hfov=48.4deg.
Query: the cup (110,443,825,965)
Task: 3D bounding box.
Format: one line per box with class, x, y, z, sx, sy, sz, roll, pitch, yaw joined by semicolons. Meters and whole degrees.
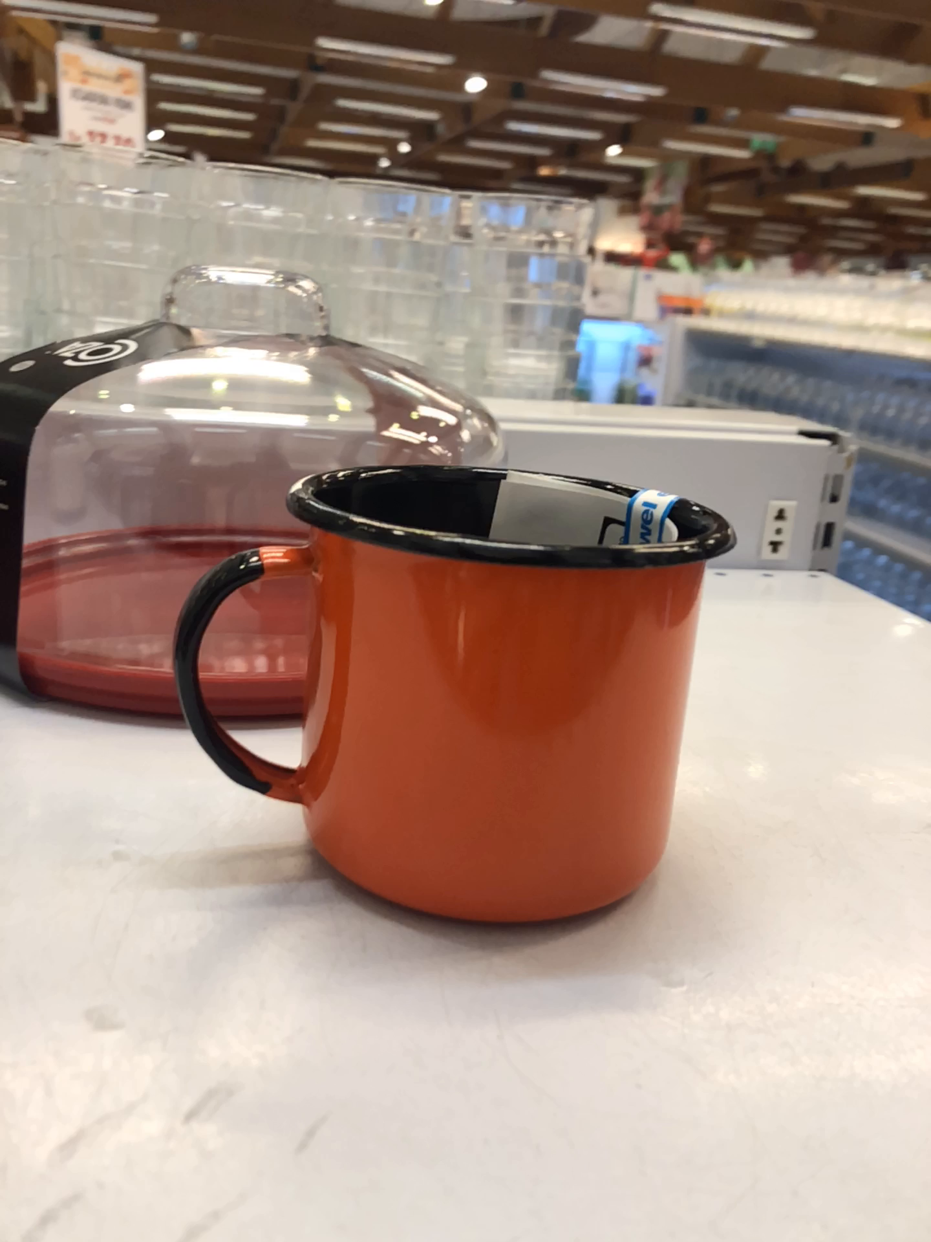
cup;-0.006;0.008;0.202;0.110;0.070;0.080;0;17;-13
